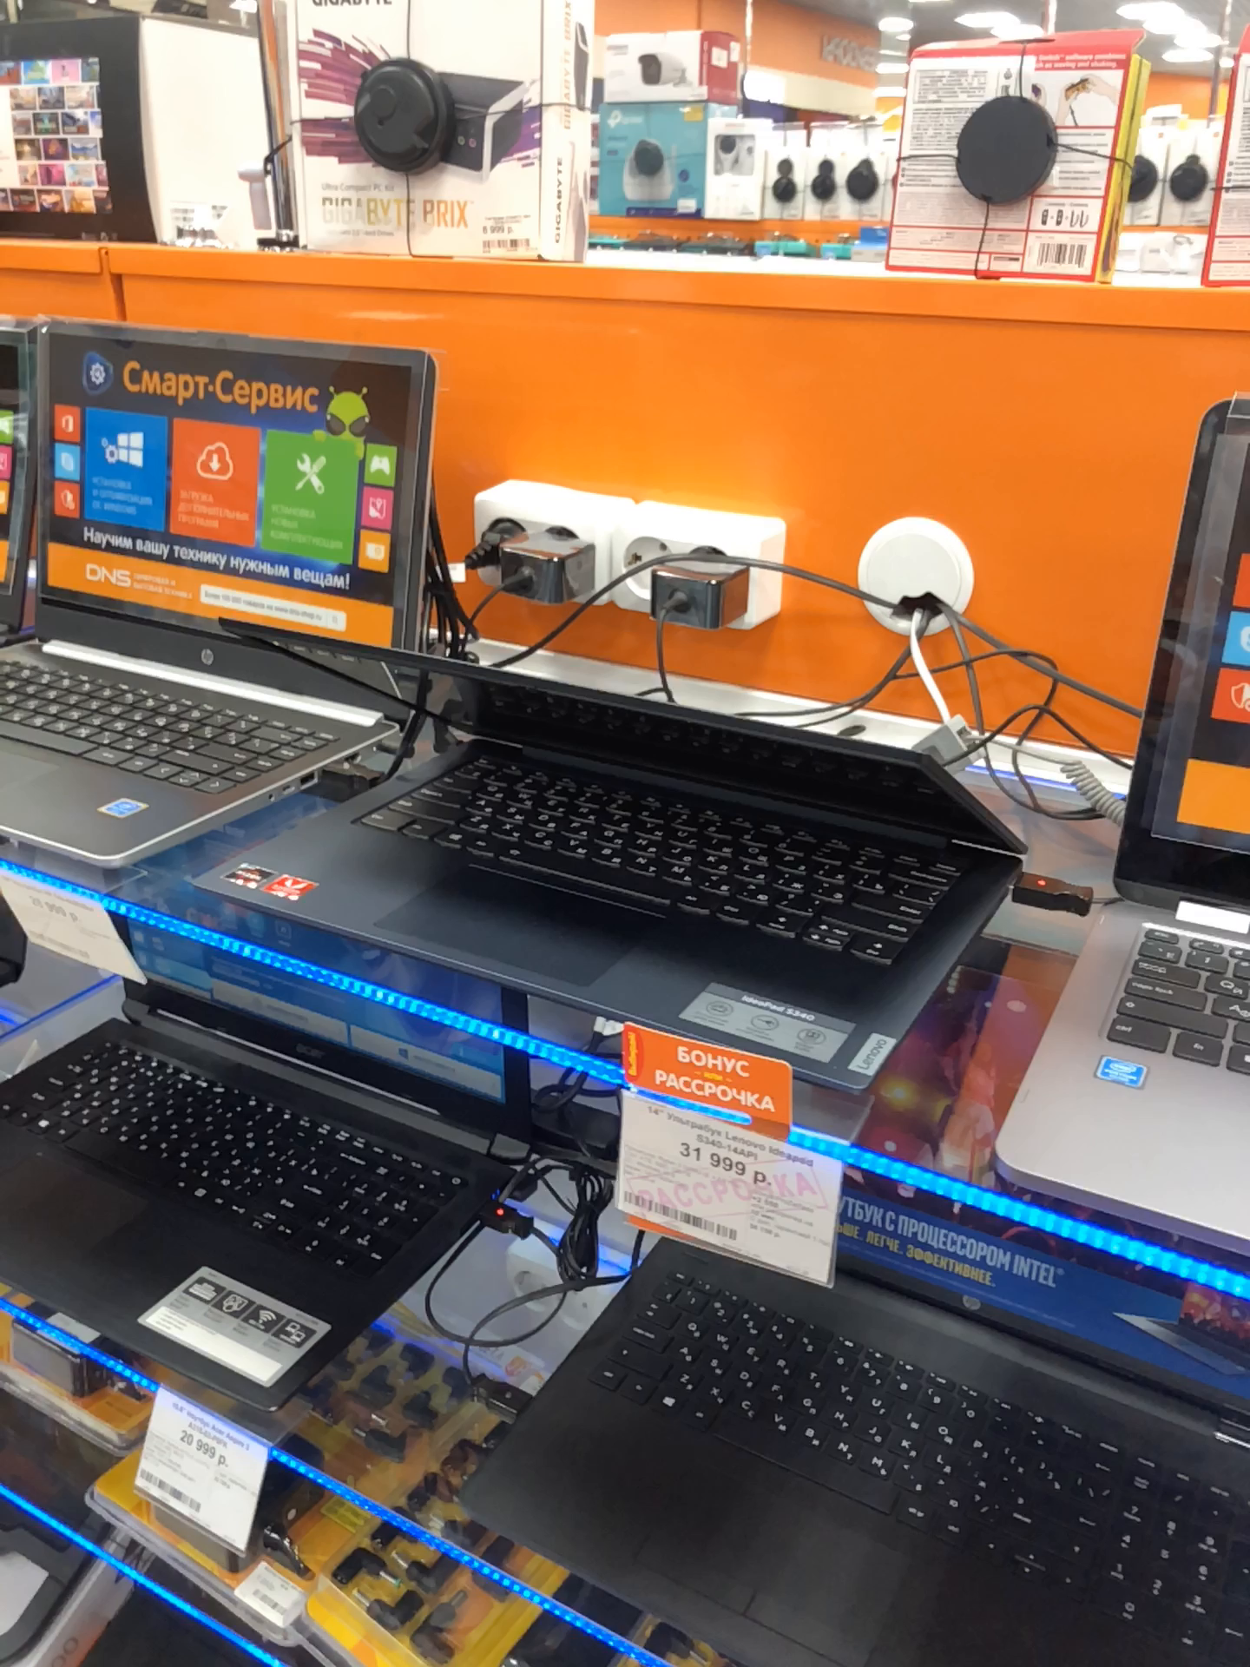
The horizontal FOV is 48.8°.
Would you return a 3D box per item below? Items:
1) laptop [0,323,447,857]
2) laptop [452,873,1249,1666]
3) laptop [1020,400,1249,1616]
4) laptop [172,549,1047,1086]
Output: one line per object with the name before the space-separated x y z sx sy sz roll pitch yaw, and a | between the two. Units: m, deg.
laptop | -0.305 -0.157 0.754 0.302 0.200 0.251 14 27 27
laptop | 0.150 0.209 0.634 0.354 0.227 0.258 13 28 28
laptop | 0.324 -0.004 0.431 0.330 0.202 0.258 12 26 23
laptop | -0.004 -0.033 0.586 0.302 0.108 0.204 13 27 28
